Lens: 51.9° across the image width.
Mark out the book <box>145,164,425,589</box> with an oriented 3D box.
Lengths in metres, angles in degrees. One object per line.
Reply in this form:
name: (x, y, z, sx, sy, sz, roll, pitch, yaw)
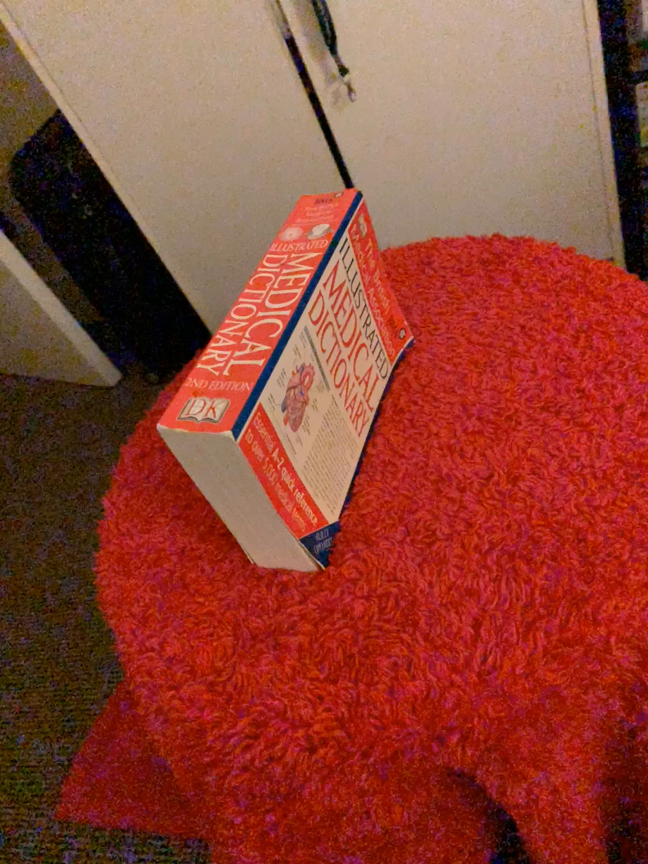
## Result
book: (-0.003, -0.040, 0.400, 0.050, 0.129, 0.221, 4, 51, 26)
